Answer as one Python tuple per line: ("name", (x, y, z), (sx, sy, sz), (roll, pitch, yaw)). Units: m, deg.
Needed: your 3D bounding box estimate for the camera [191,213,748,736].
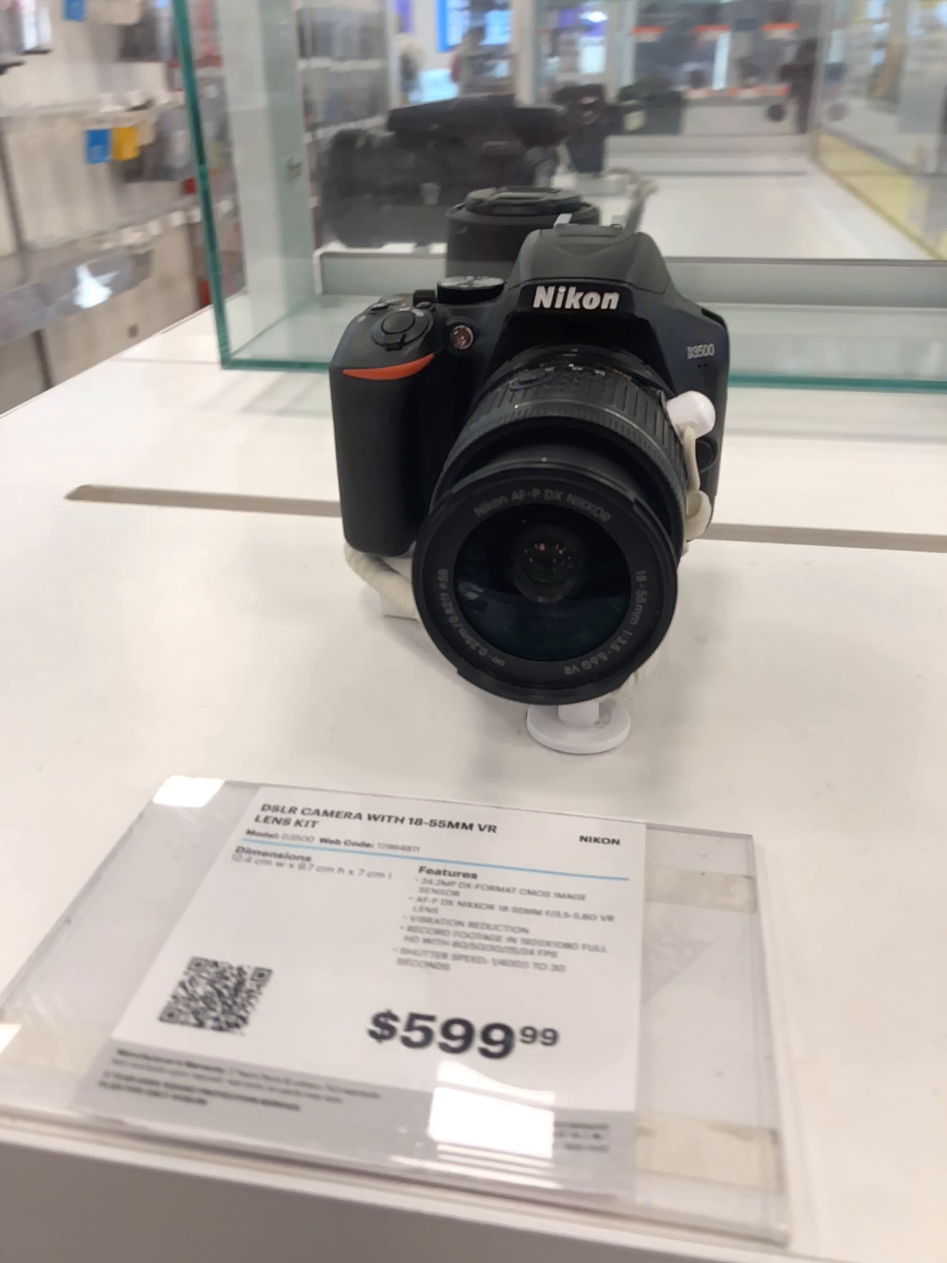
("camera", (0.014, -0.063, 0.318), (0.120, 0.100, 0.171), (5, 28, 11))
